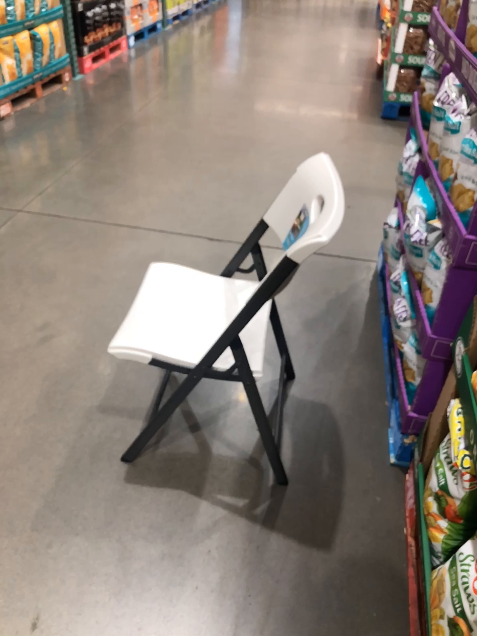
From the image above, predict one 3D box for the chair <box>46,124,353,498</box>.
[{"bbox_3d":[-0.058,-0.020,1.463,0.594,0.790,0.548,7,38,5],"label":"chair"}]
